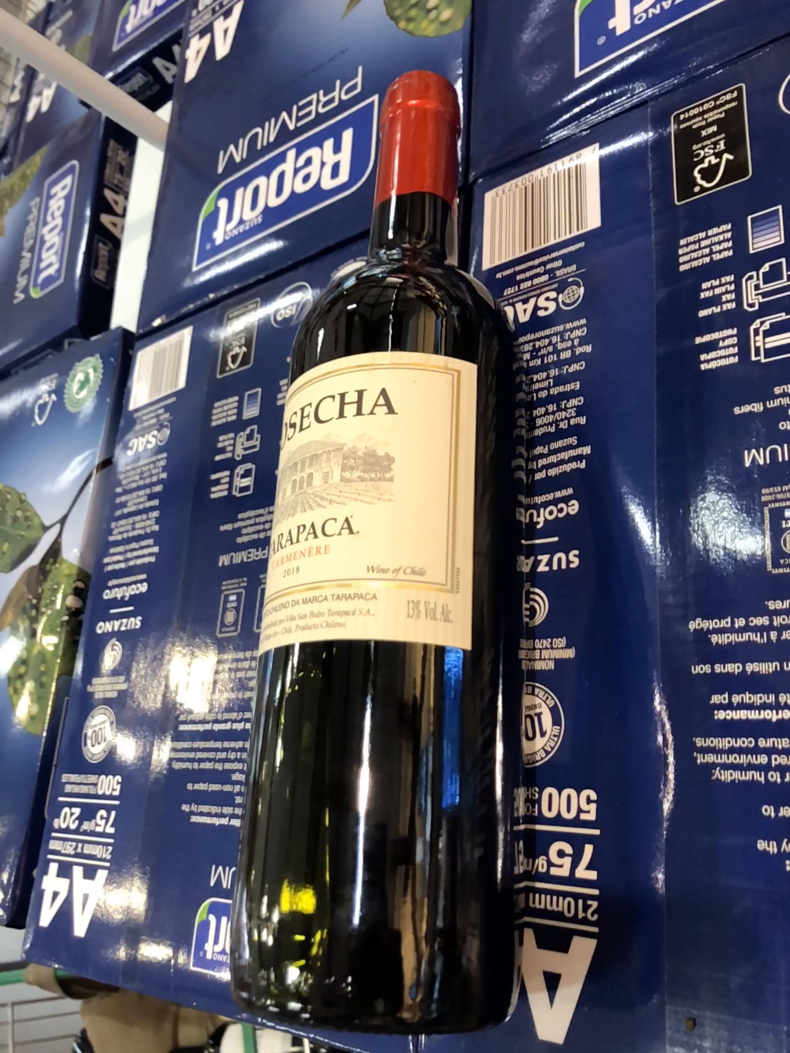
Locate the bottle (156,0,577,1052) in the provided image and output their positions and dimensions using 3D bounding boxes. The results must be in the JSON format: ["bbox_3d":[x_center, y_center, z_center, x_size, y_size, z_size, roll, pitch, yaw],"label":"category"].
[{"bbox_3d":[0.002,-0.038,0.266,0.080,0.060,0.331,-13,64,37],"label":"bottle"}]
